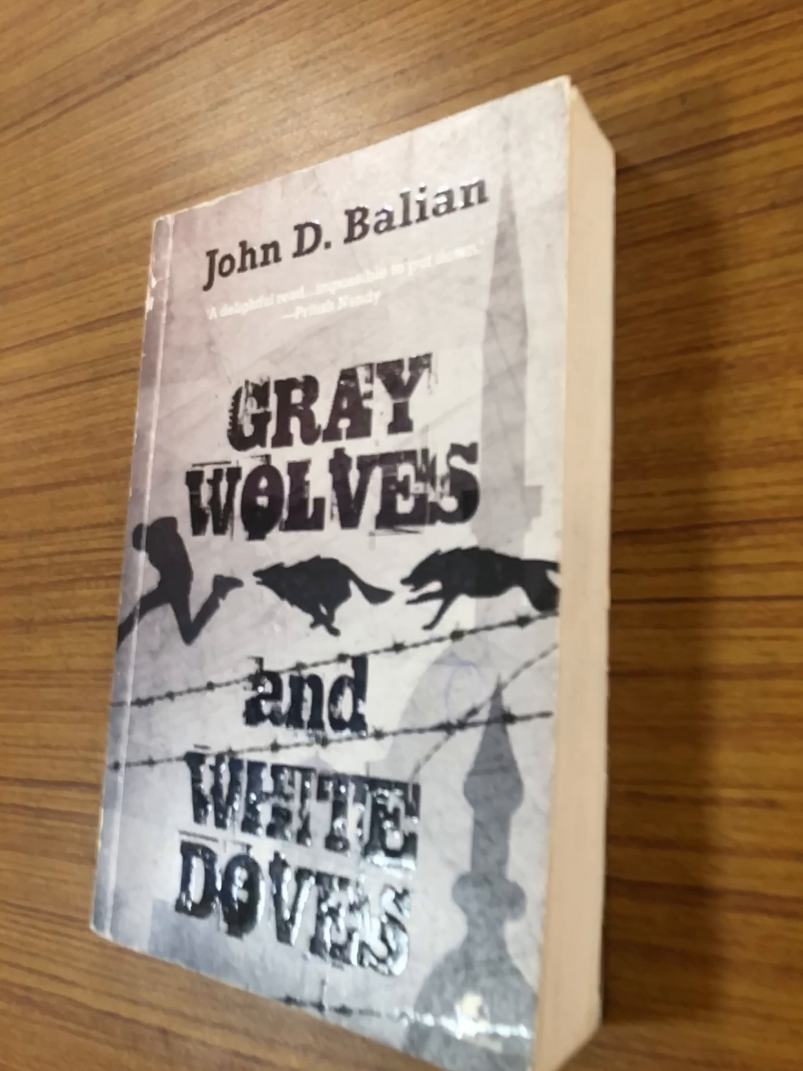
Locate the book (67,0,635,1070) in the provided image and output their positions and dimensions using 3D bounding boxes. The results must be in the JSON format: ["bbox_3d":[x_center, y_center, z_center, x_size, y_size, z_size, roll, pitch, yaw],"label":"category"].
[{"bbox_3d":[-0.016,-0.001,0.208,0.131,0.030,0.210,-2,81,36],"label":"book"}]
